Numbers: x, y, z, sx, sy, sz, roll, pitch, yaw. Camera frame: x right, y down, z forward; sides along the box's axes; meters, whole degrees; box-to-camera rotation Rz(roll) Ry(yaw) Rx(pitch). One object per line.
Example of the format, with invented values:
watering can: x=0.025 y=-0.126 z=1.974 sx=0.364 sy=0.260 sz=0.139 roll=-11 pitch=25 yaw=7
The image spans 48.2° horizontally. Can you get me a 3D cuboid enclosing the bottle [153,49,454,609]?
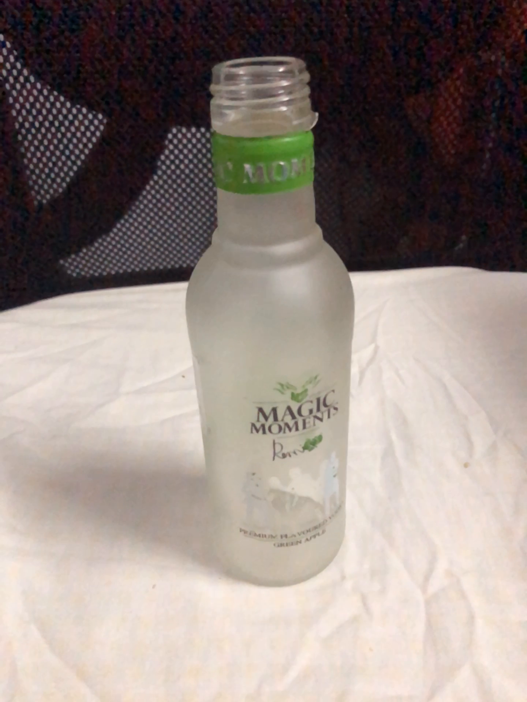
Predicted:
bottle: x=0.007 y=0.003 z=0.187 sx=0.060 sy=0.169 sz=0.050 roll=-8 pitch=34 yaw=-11
